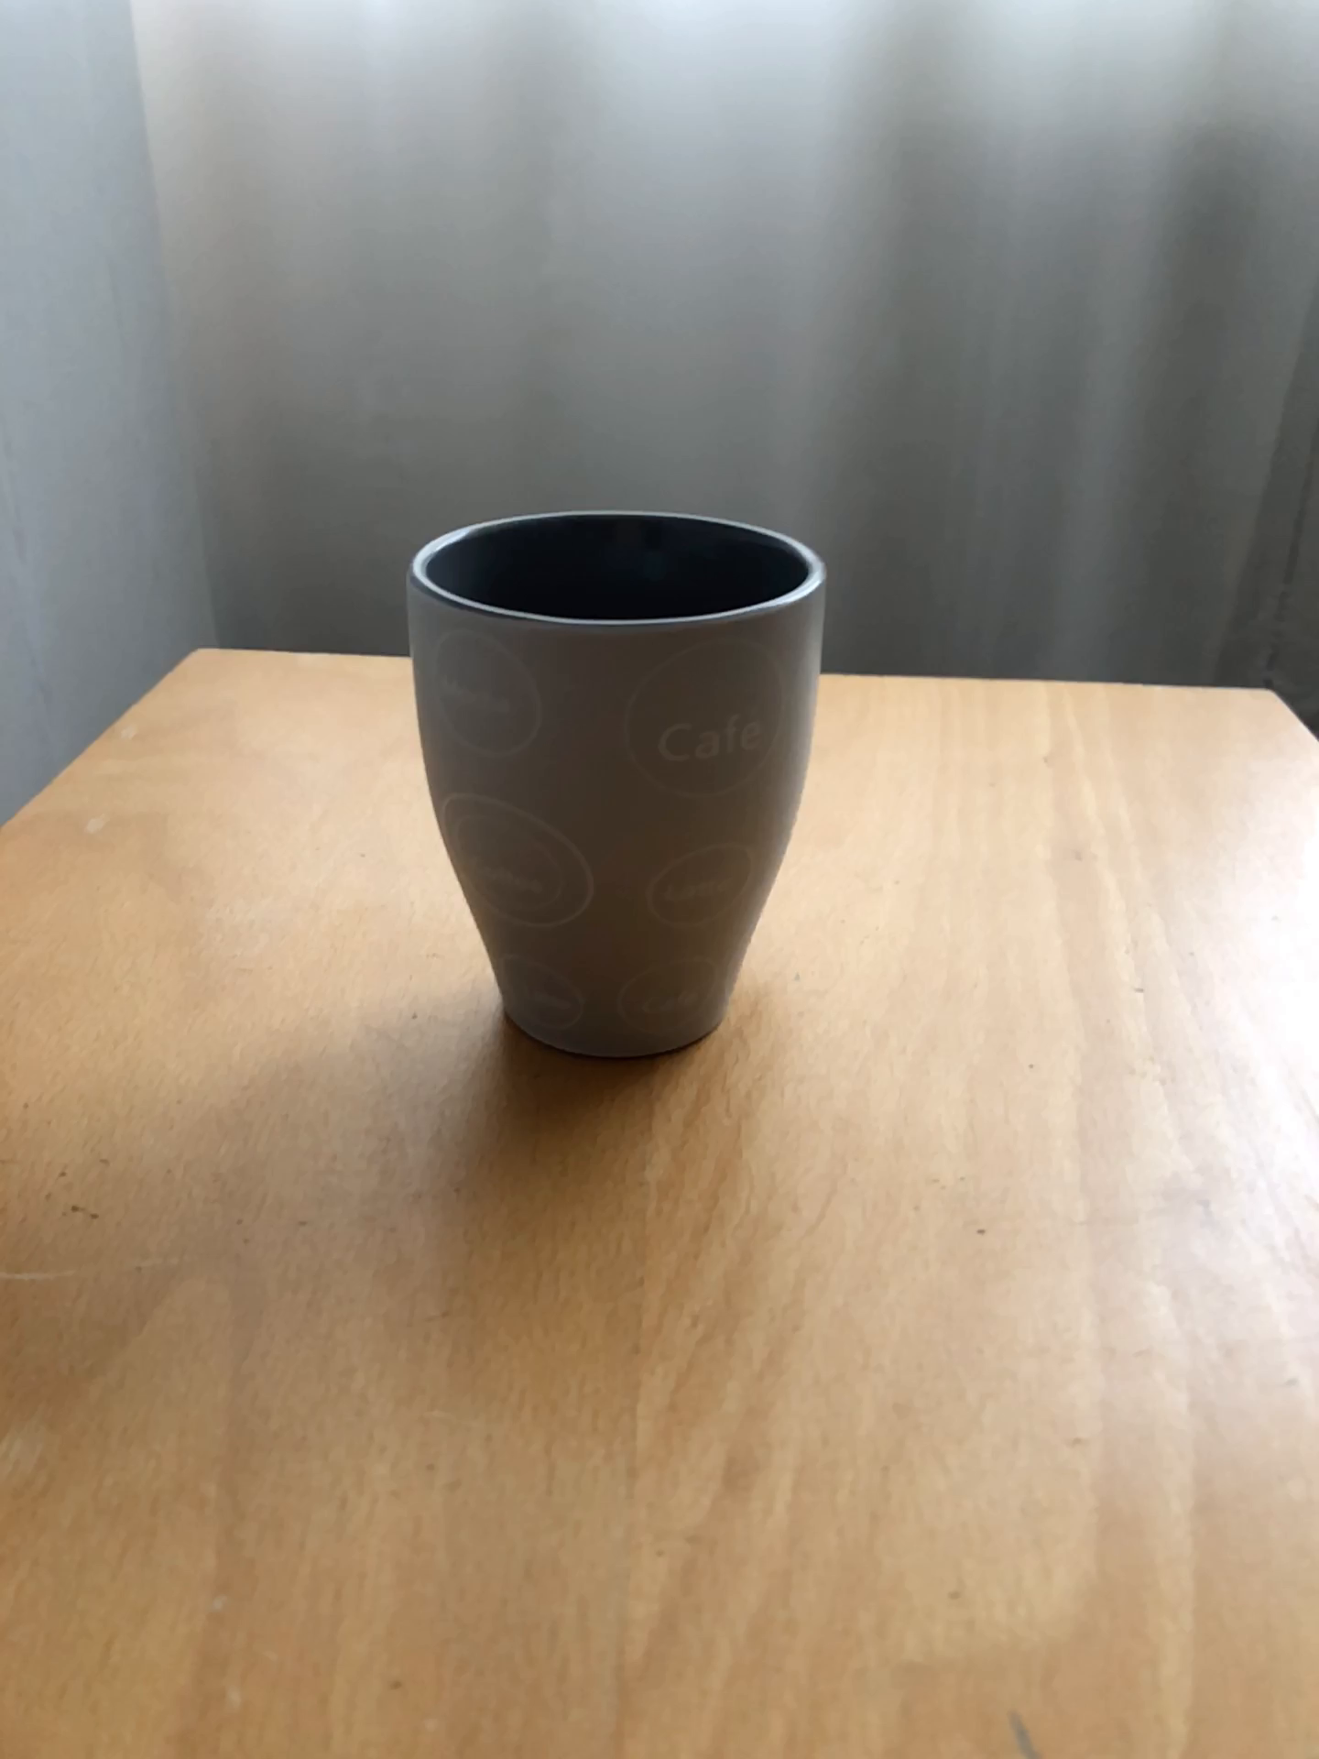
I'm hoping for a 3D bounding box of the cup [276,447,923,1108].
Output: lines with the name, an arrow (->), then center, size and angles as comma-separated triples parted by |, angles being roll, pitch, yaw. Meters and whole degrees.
cup -> -0.005, -0.033, 0.320 | 0.084, 0.093, 0.127 | 12, 29, 22
